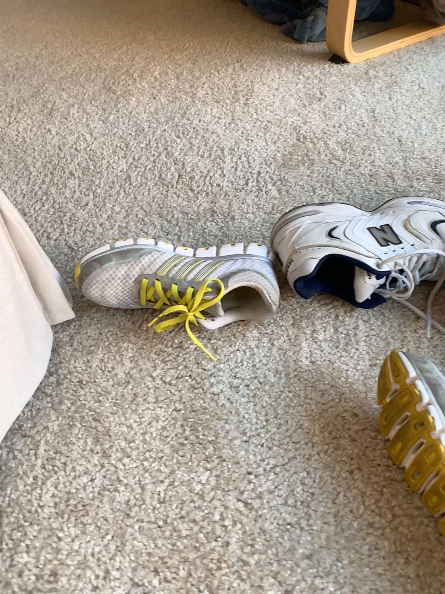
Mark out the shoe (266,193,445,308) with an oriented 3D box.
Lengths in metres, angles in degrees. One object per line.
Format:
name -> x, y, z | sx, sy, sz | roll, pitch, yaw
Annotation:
shoe -> 0.204, -0.058, 0.571 | 0.280, 0.100, 0.100 | -1, 52, -3

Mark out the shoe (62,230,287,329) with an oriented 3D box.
shoe -> -0.050, -0.021, 0.522 | 0.230, 0.080, 0.080 | 0, 41, -2

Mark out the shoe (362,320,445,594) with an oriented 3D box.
shoe -> 0.223, 0.139, 0.361 | 0.100, 0.090, 0.221 | -11, 50, -16
